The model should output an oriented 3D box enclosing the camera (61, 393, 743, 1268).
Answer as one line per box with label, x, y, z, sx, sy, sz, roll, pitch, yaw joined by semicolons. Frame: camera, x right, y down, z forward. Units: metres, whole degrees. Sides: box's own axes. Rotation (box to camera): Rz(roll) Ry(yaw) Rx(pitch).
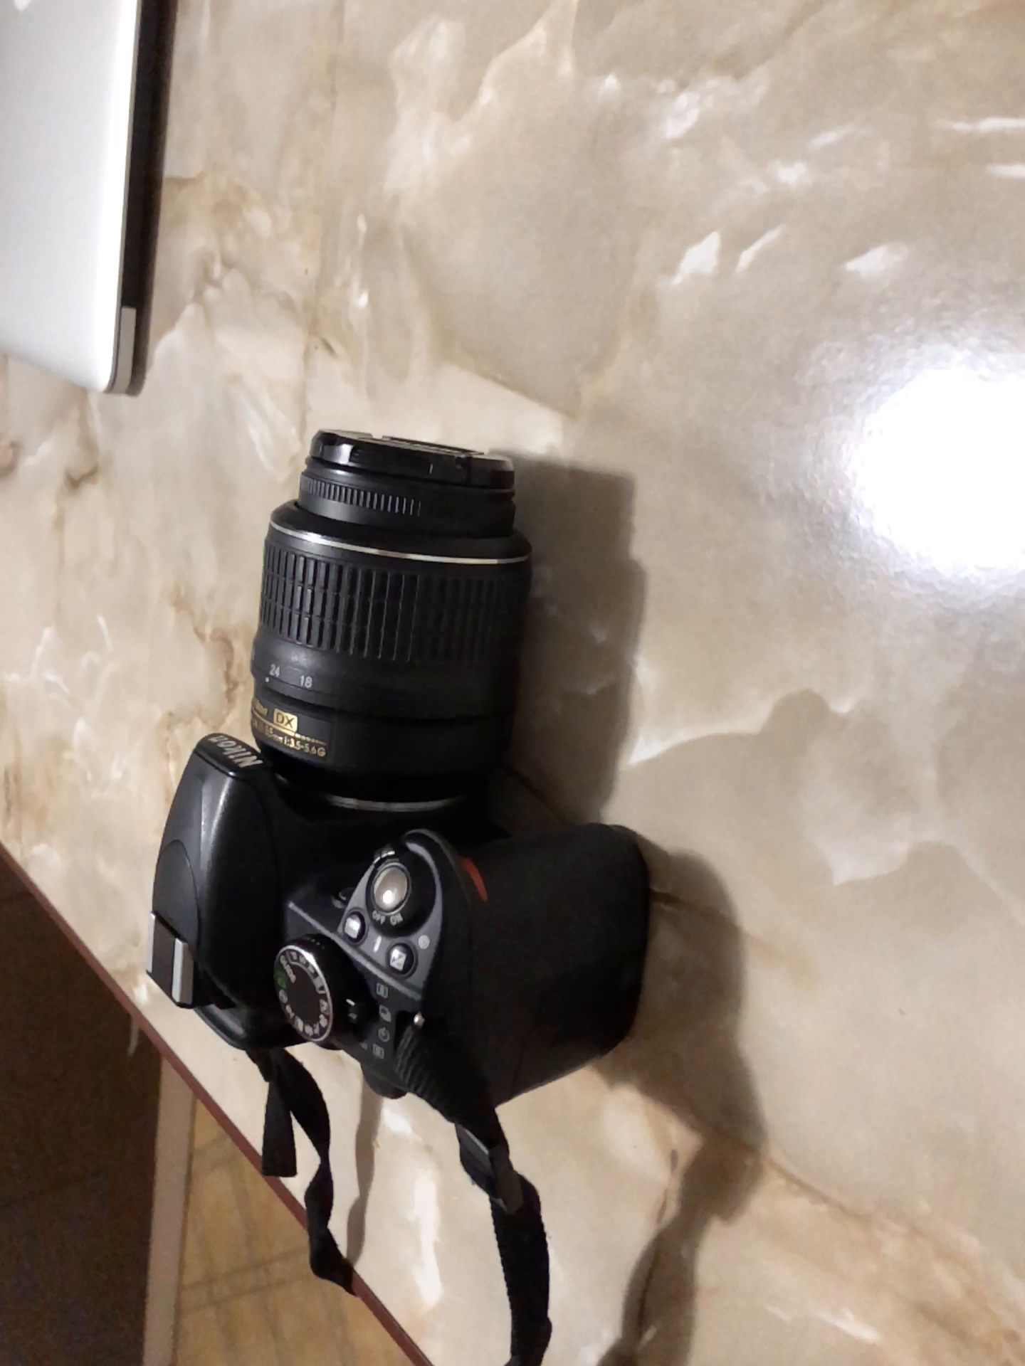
camera;-0.037;0.019;0.283;0.126;0.099;0.160;22;110;46
